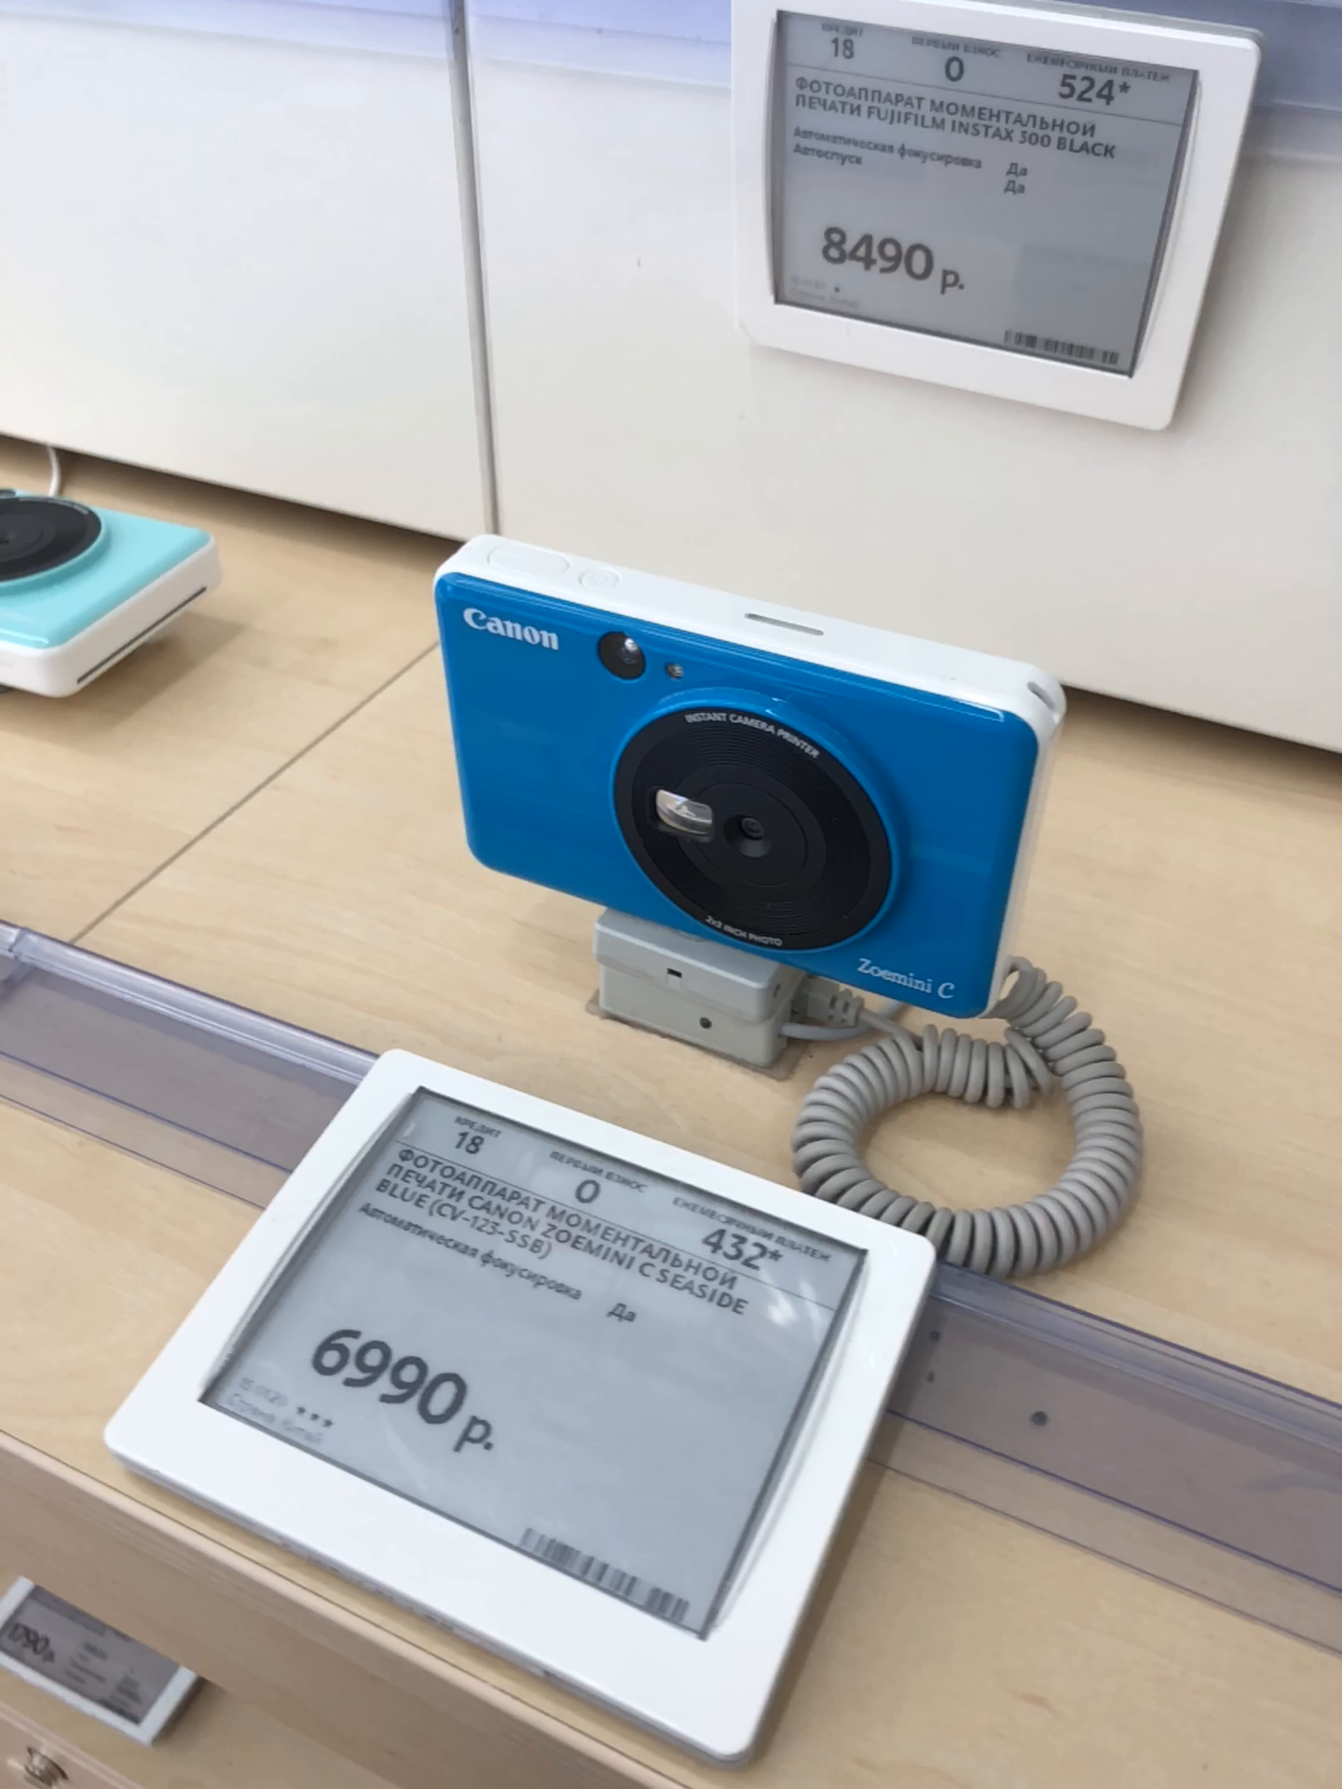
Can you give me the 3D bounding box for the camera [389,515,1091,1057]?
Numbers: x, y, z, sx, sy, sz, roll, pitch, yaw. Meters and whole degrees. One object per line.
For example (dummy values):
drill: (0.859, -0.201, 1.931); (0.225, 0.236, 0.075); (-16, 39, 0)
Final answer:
camera: (0.010, -0.022, 0.282); (0.120, 0.070, 0.030); (18, 46, 20)
